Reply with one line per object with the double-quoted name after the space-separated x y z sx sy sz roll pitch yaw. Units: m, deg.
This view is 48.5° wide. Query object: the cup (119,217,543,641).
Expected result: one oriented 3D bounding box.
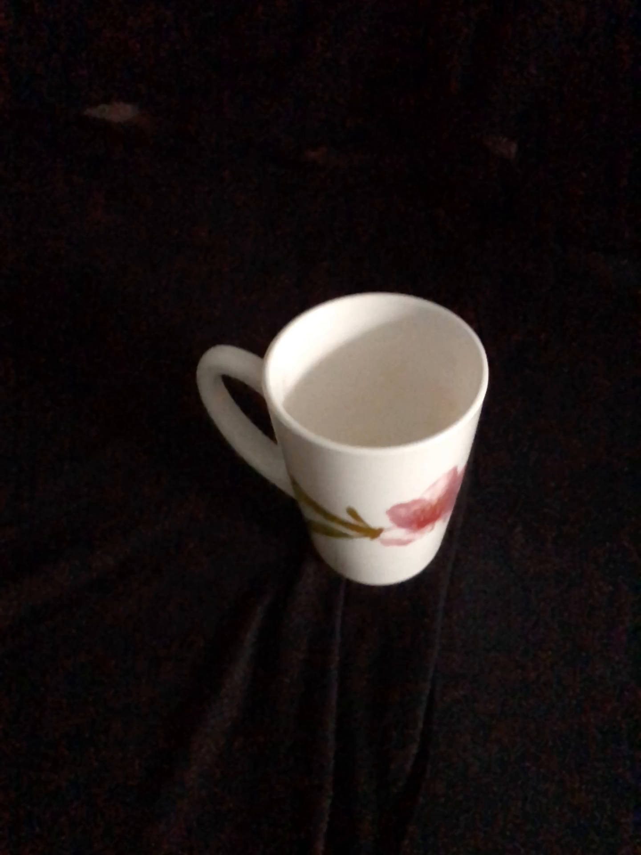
0.007 0.006 0.297 0.125 0.130 0.090 15 55 9 "cup"
